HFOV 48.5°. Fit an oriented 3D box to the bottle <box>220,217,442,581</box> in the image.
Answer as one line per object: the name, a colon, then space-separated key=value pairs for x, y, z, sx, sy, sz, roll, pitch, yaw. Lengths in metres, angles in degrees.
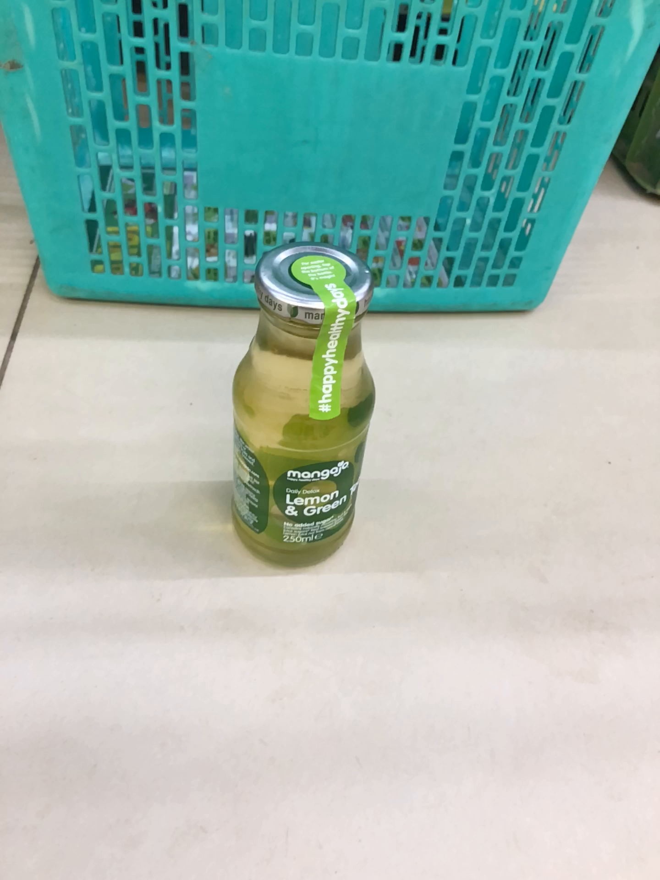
bottle: x=-0.010 y=-0.014 z=0.331 sx=0.070 sy=0.149 sz=0.070 roll=4 pitch=44 yaw=-4
